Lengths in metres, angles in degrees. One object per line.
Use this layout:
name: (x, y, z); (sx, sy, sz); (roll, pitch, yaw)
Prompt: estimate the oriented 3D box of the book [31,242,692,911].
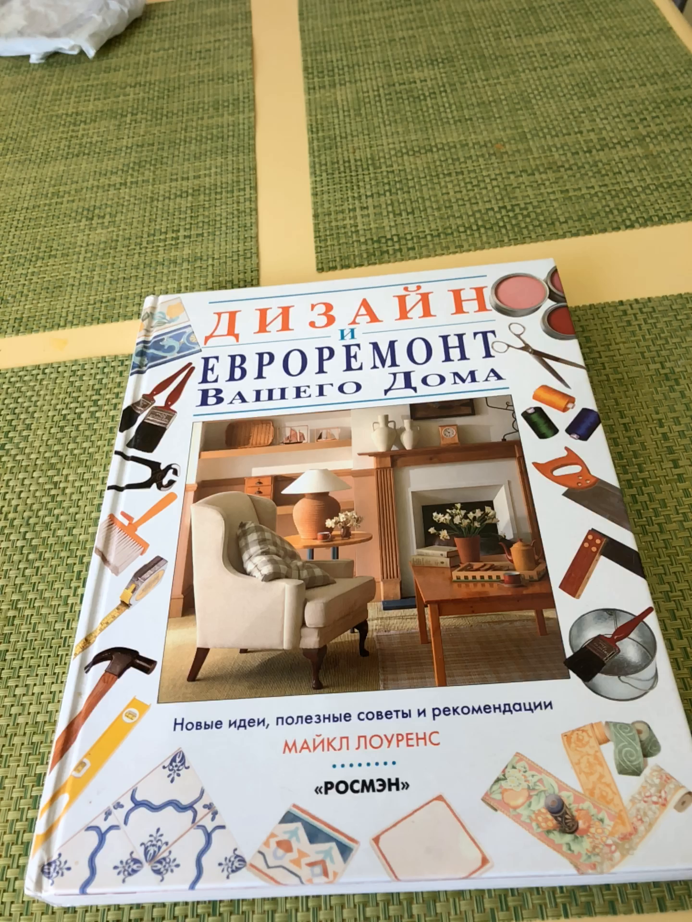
book: (0.013, 0.019, 0.315); (0.212, 0.038, 0.277); (-4, 52, 3)
